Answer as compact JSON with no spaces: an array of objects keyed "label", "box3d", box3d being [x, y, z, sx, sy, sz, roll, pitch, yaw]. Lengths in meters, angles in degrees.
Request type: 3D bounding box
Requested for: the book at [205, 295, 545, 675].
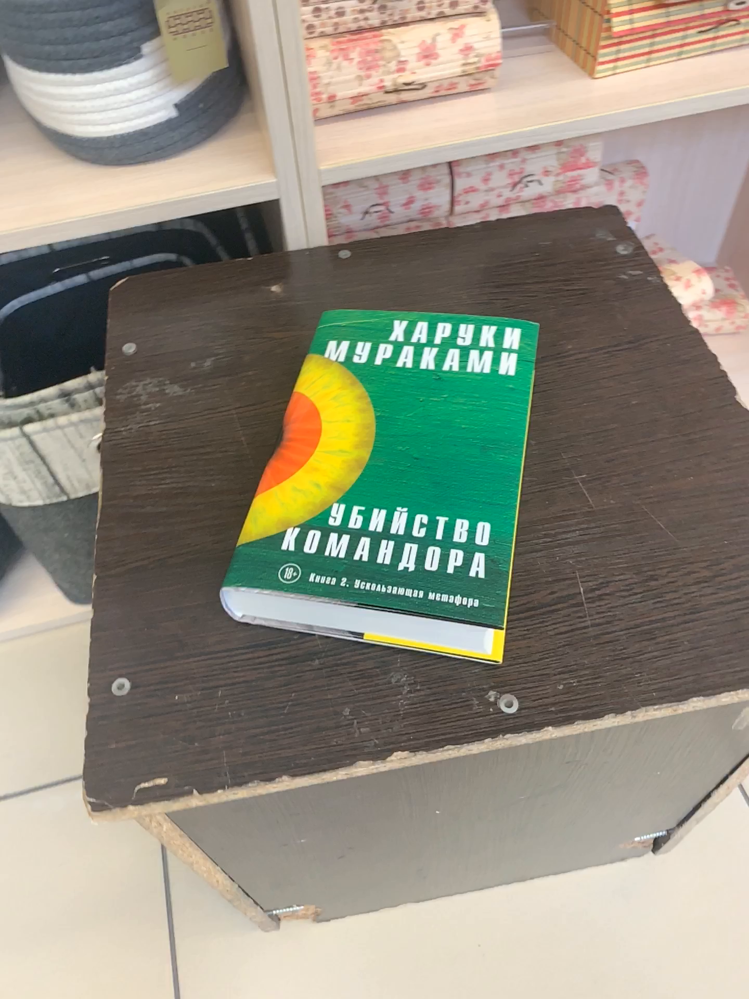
[{"label":"book","box3d":[0.012,-0.021,0.451,0.150,0.050,0.217,8,56,10]}]
